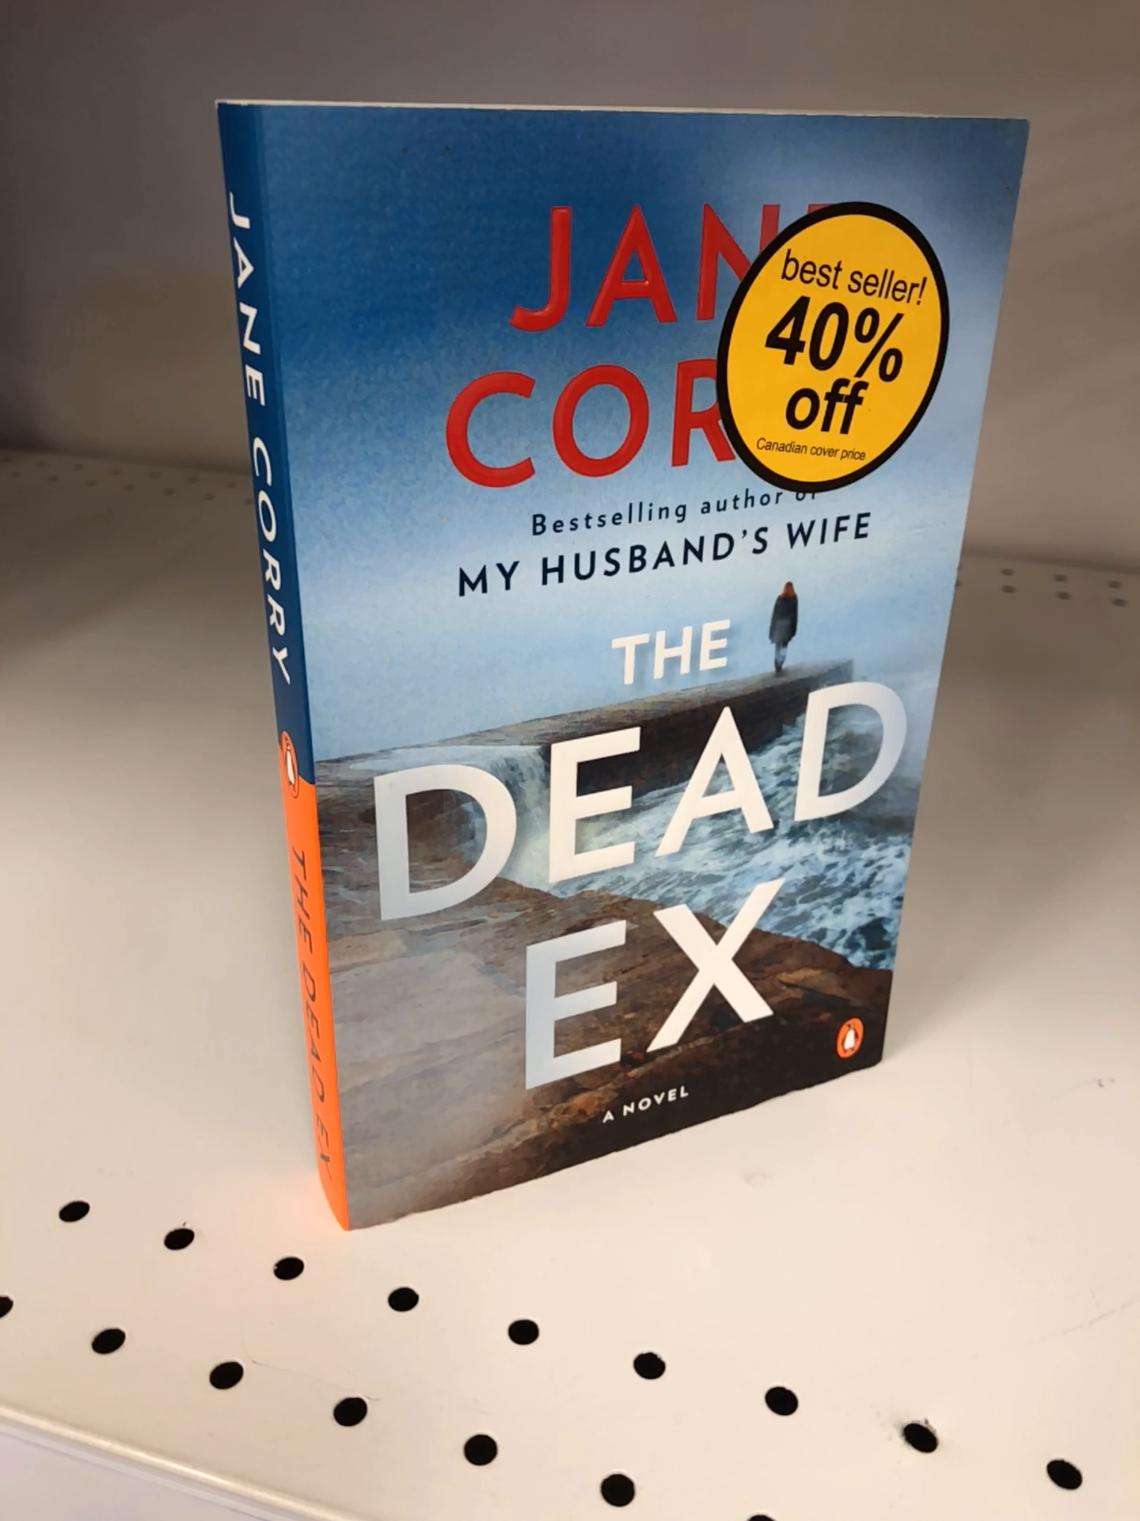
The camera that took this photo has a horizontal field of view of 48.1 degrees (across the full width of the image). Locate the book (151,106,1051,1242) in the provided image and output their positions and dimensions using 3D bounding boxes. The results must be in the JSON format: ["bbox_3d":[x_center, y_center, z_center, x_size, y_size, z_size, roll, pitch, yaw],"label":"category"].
[{"bbox_3d":[0.008,-0.015,0.261,0.146,0.211,0.040,-11,30,-21],"label":"book"}]
